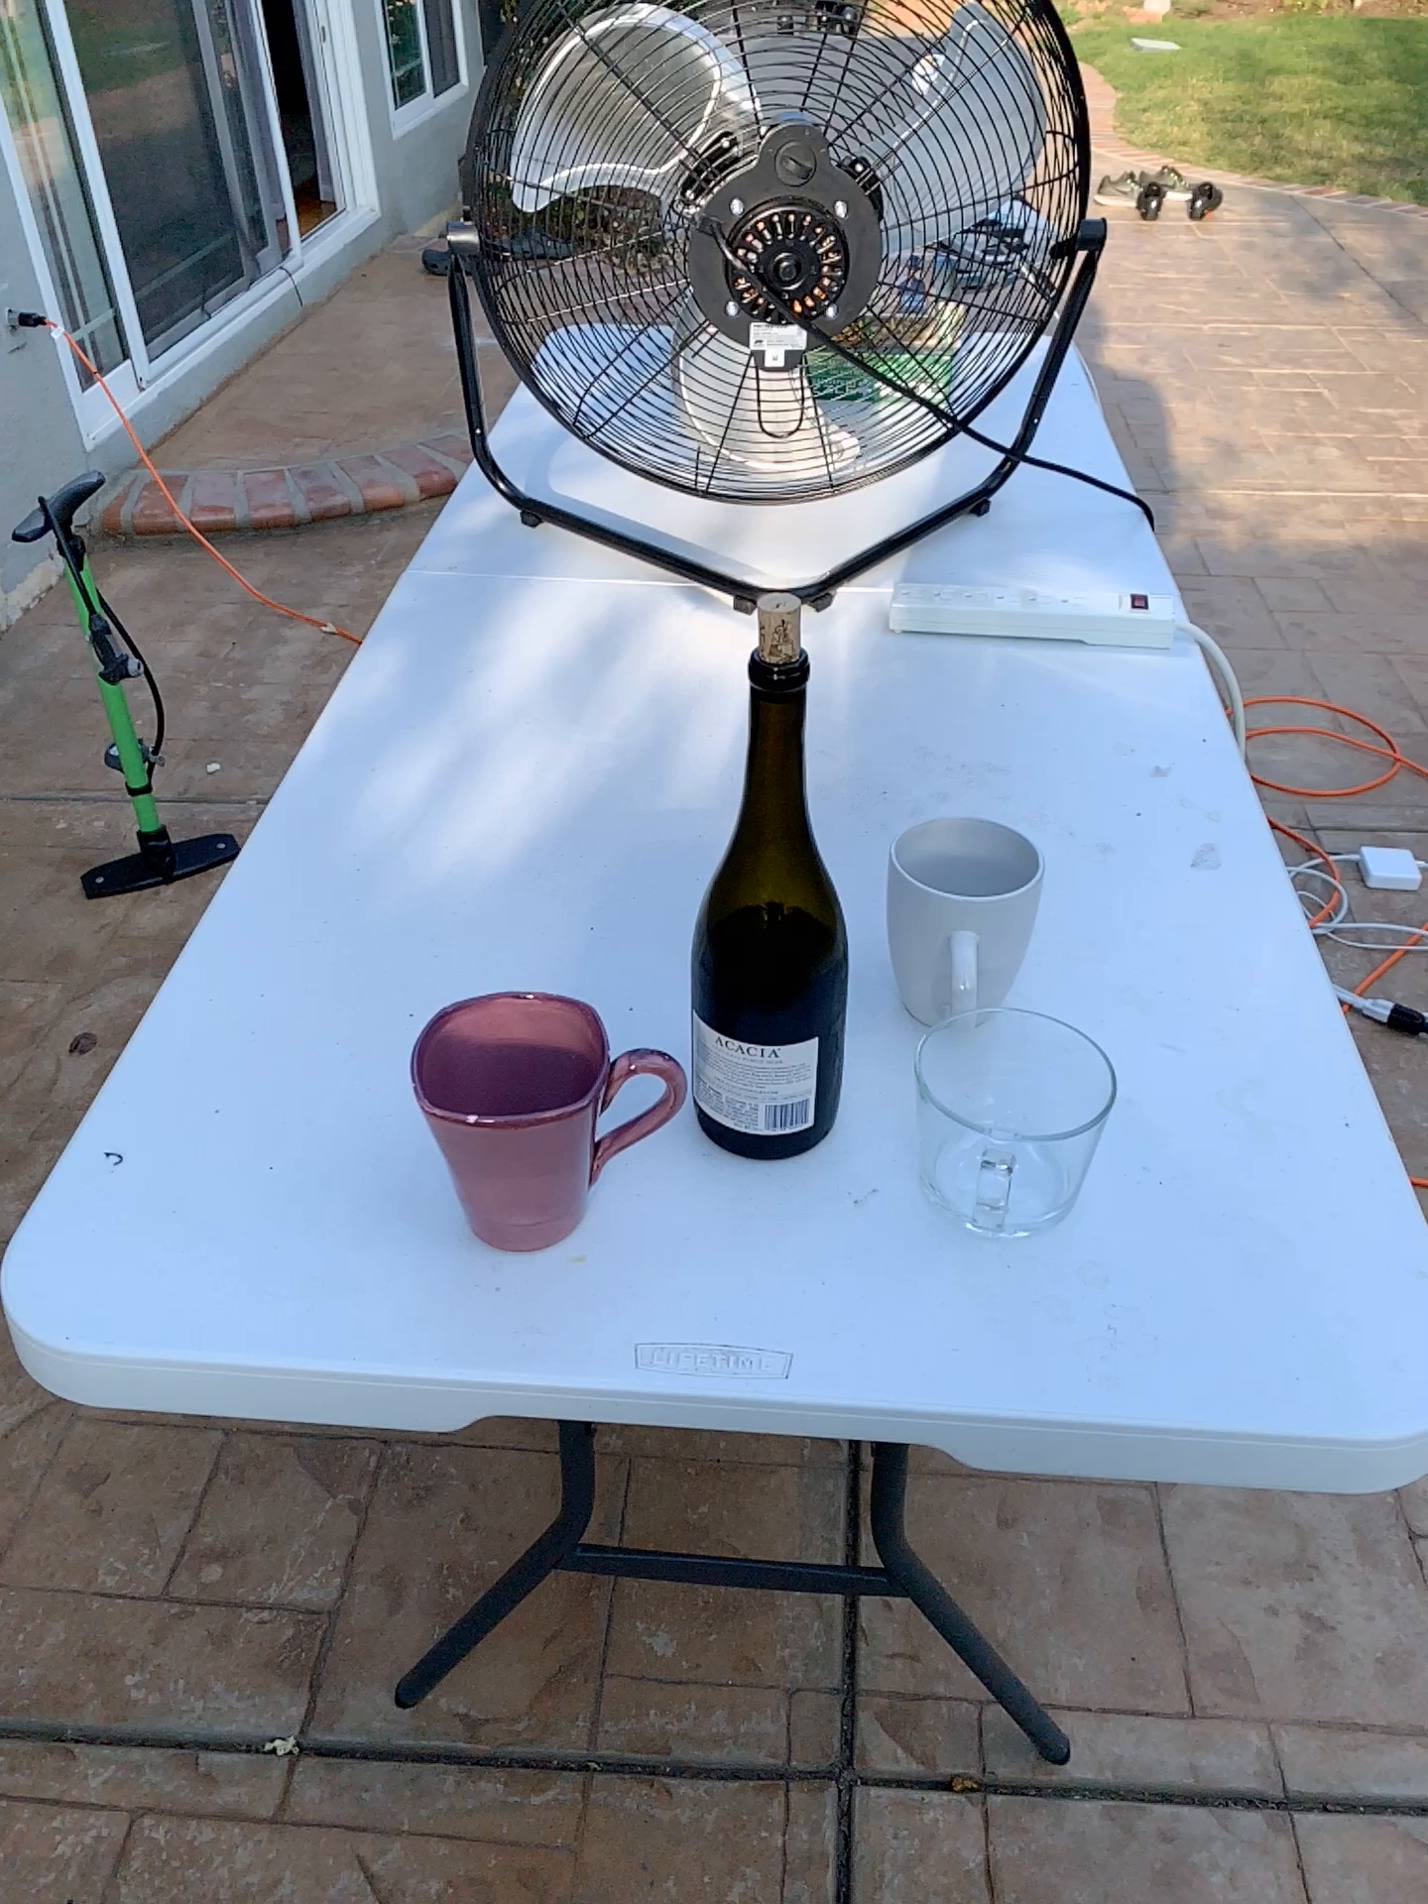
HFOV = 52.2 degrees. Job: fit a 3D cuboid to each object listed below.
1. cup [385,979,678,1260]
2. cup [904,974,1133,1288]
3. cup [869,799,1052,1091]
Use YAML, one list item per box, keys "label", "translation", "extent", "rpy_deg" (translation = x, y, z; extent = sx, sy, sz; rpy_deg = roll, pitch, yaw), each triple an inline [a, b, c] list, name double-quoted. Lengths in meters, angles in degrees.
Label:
- label: "cup"
  translation: [-0.086, 0.084, 0.743]
  extent: [0.130, 0.099, 0.101]
  rpy_deg: [0, 37, 1]
- label: "cup"
  translation: [0.158, 0.088, 0.750]
  extent: [0.100, 0.080, 0.131]
  rpy_deg: [7, 38, 10]
- label: "cup"
  translation: [0.143, -0.006, 0.880]
  extent: [0.090, 0.119, 0.131]
  rpy_deg: [2, 37, 4]
